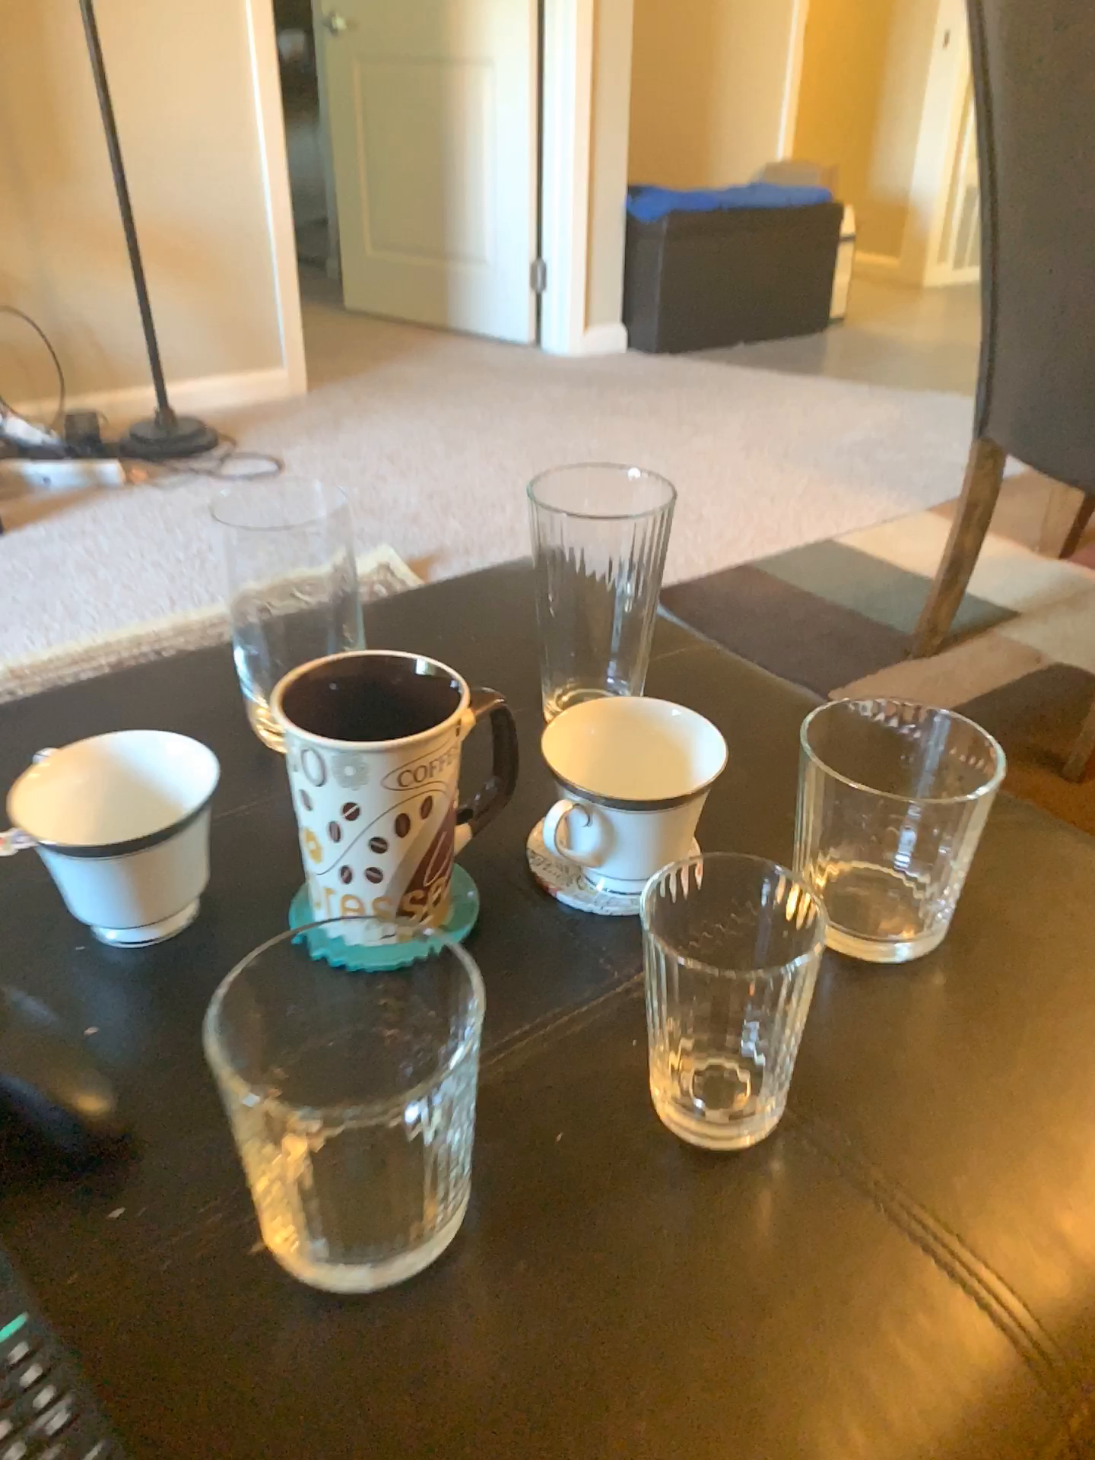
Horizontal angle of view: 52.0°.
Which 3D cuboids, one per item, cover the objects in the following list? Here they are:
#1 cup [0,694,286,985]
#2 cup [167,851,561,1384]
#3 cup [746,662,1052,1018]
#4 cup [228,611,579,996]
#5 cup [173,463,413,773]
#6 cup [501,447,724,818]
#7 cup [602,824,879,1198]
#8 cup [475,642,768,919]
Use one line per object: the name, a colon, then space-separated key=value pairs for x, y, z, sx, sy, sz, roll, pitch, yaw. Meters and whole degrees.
cup: x=-0.199 y=0.048 z=0.530 sx=0.110 sy=0.080 sz=0.090 roll=10 pitch=32 yaw=16
cup: x=-0.060 y=0.129 z=0.390 sx=0.090 sy=0.119 sz=0.090 roll=0 pitch=31 yaw=0
cup: x=0.166 y=0.050 z=0.546 sx=0.090 sy=0.119 sz=0.090 roll=0 pitch=31 yaw=0
cup: x=-0.065 y=0.029 z=0.539 sx=0.130 sy=0.119 sz=0.090 roll=-22 pitch=37 yaw=-33
cup: x=-0.146 y=-0.068 z=0.658 sx=0.090 sy=0.139 sz=0.090 roll=0 pitch=31 yaw=0
cup: x=0.036 y=-0.061 z=0.688 sx=0.090 sy=0.189 sz=0.090 roll=0 pitch=31 yaw=0
cup: x=0.072 y=0.106 z=0.437 sx=0.070 sy=0.100 sz=0.070 roll=0 pitch=31 yaw=0
cup: x=0.036 y=0.020 z=0.554 sx=0.090 sy=0.070 sz=0.110 roll=26 pitch=39 yaw=36
